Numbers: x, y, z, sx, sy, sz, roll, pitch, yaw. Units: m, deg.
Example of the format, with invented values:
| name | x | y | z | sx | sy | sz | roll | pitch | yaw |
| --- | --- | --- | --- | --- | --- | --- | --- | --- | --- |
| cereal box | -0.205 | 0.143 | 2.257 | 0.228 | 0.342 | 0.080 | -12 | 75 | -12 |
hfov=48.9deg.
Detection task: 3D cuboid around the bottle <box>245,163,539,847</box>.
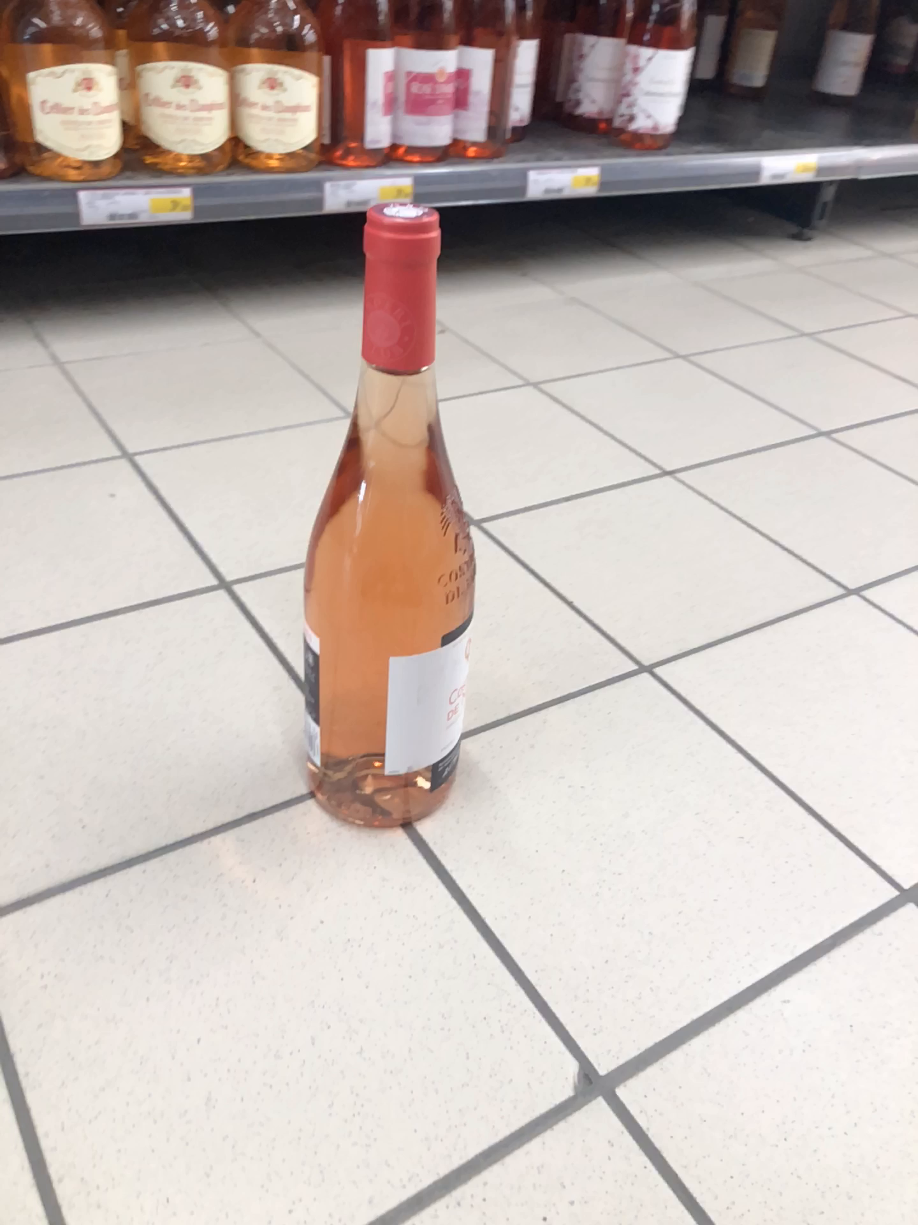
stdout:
| name | x | y | z | sx | sy | sz | roll | pitch | yaw |
| --- | --- | --- | --- | --- | --- | --- | --- | --- | --- |
| bottle | -0.032 | -0.035 | 0.446 | 0.090 | 0.278 | 0.091 | 4 | 34 | -3 |
